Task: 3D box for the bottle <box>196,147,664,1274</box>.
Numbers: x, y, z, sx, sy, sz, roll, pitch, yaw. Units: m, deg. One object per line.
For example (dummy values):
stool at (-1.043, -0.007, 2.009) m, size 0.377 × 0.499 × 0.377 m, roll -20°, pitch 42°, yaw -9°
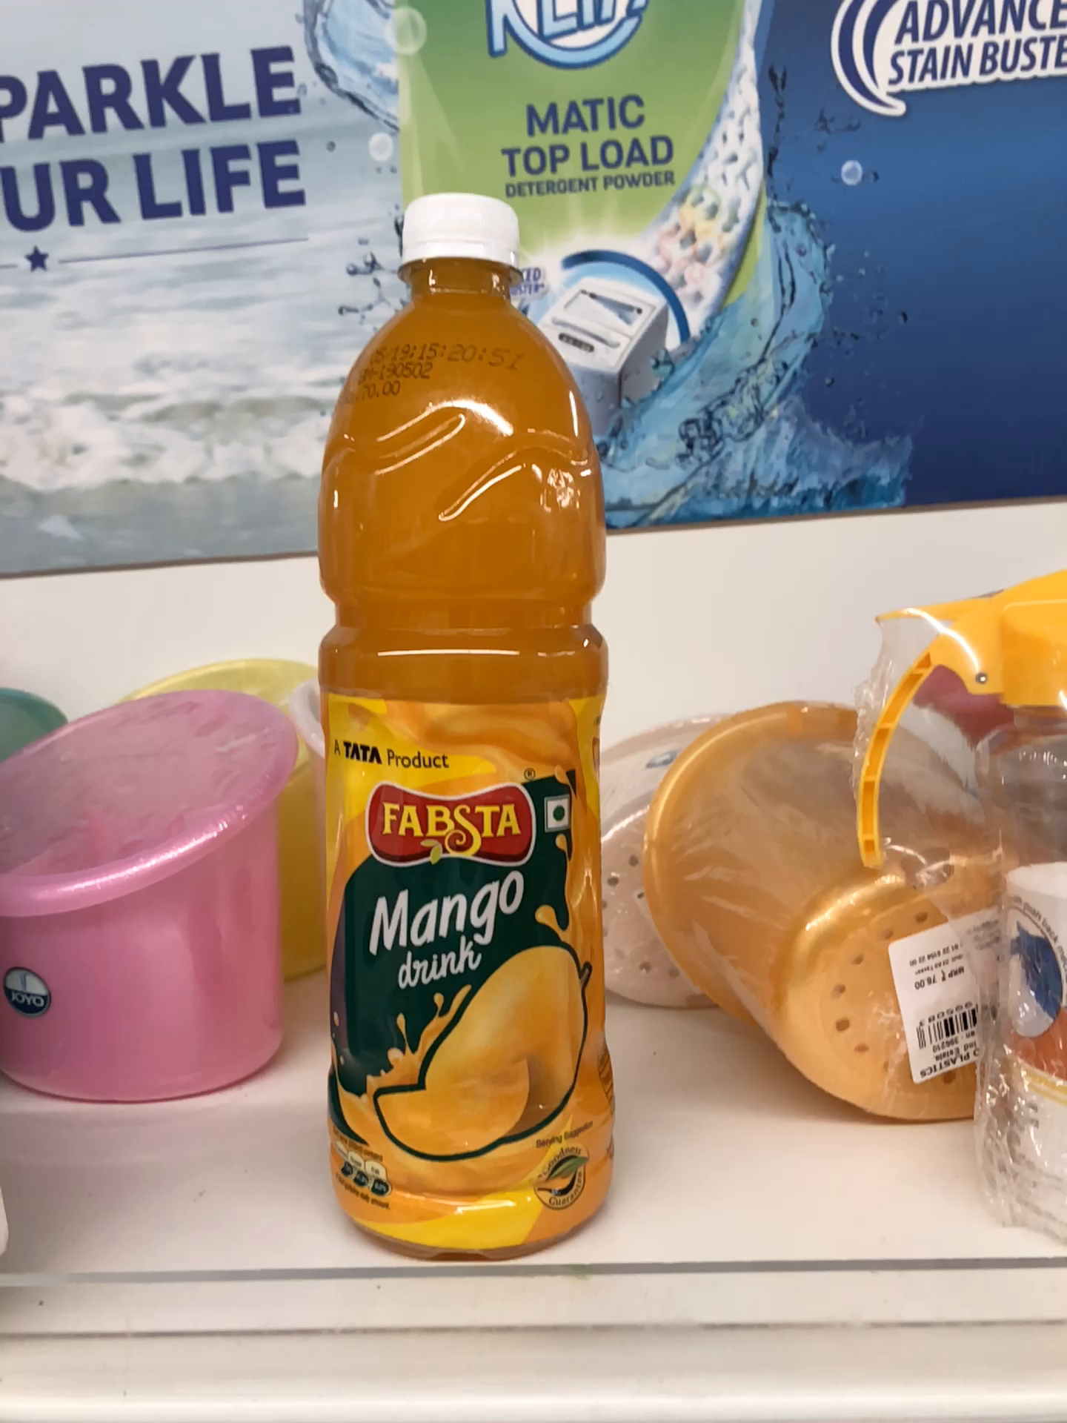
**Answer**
bottle at (-0.022, 0.001, 0.317) m, size 0.090 × 0.260 × 0.080 m, roll -4°, pitch 6°, yaw -1°
